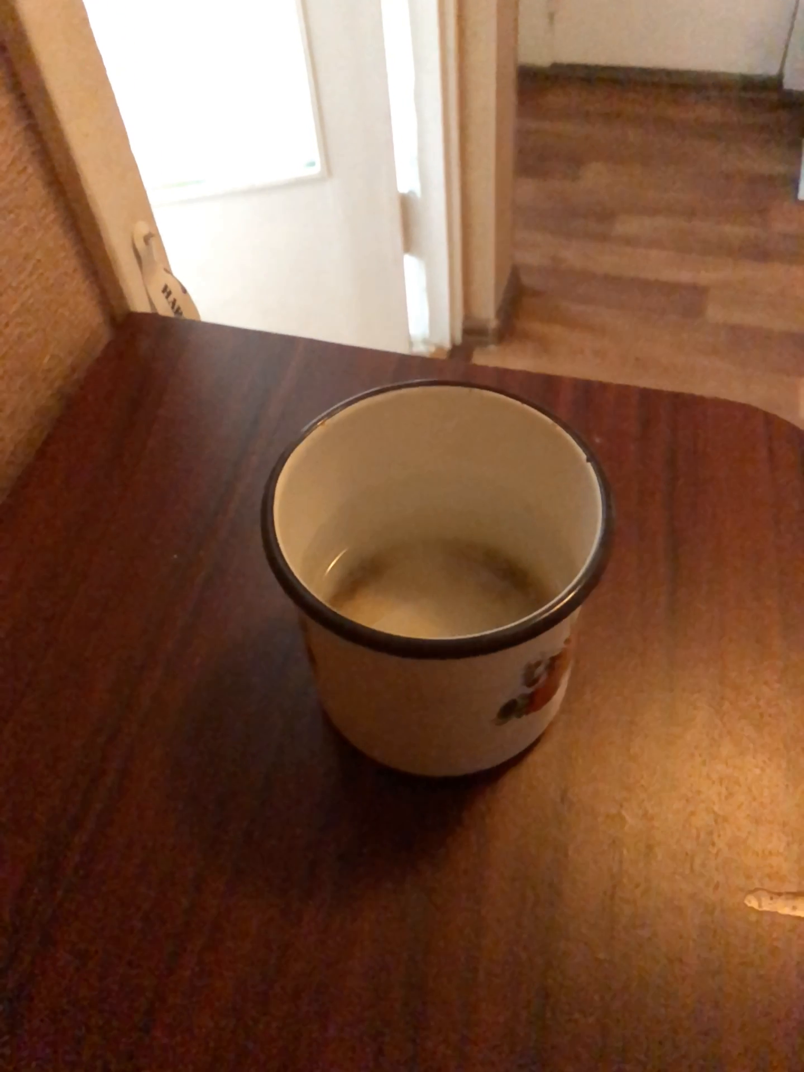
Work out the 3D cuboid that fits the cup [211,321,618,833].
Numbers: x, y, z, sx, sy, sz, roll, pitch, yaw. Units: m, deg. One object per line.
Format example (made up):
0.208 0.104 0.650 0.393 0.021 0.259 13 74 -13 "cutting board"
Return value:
0.017 0.013 0.351 0.118 0.113 0.156 5 53 9 "cup"
